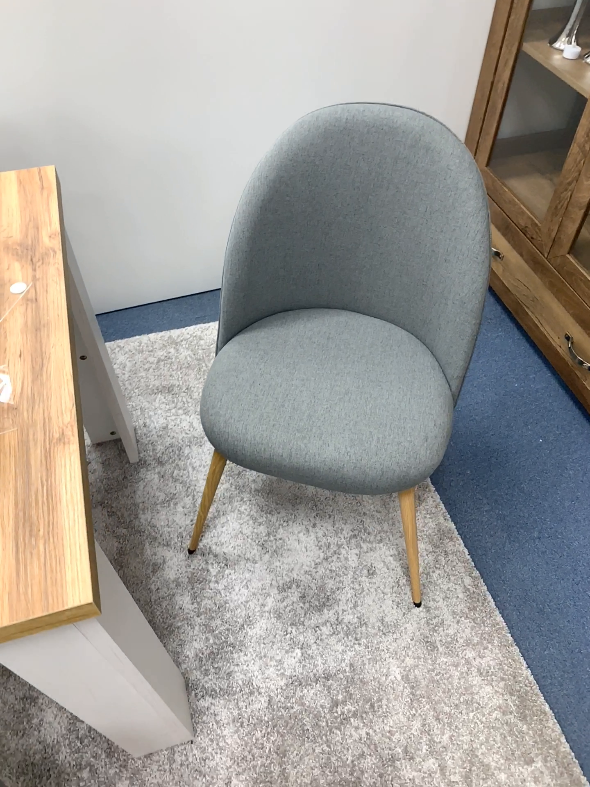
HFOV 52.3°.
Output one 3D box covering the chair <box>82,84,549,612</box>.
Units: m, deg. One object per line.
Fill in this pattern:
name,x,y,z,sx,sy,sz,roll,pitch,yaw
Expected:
chair,0.066,-0.058,1.135,0.530,0.737,0.572,9,50,7
